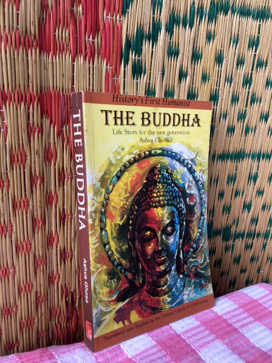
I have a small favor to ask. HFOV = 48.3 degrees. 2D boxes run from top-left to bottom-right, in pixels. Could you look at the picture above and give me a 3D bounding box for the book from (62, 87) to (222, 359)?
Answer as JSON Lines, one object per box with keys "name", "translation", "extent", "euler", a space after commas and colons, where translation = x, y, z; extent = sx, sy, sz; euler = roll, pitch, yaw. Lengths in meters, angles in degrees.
{"name": "book", "translation": [0.014, 0.028, 0.278], "extent": [0.146, 0.206, 0.030], "euler": [-5, 5, -31]}
